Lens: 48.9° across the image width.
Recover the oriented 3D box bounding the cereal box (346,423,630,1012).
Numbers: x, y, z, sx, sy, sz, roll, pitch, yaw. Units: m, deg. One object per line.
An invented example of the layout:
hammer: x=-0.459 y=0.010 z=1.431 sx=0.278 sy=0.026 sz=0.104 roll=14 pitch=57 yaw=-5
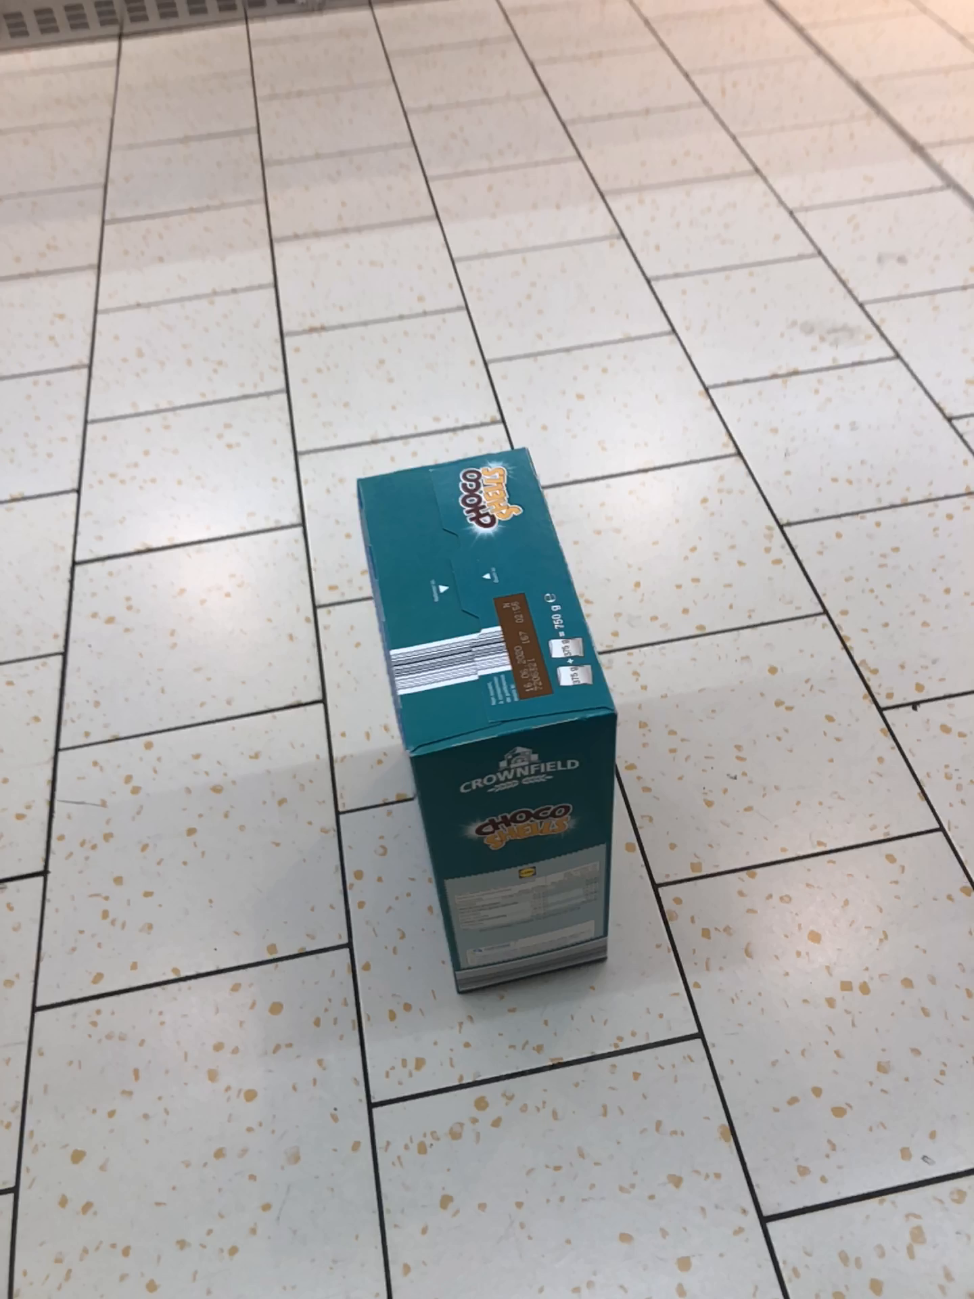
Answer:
cereal box: x=-0.001 y=0.048 z=0.628 sx=0.100 sy=0.268 sz=0.211 roll=-11 pitch=49 yaw=-5
